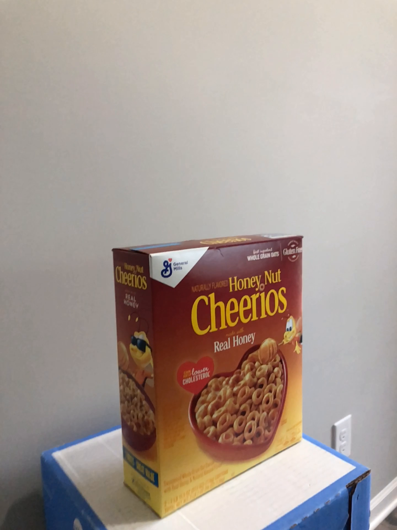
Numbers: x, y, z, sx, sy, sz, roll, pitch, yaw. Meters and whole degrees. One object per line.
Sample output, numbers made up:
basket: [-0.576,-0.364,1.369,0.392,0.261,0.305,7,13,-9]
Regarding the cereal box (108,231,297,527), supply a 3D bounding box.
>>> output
cereal box: [0.017,0.121,0.573,0.240,0.309,0.080,-8,11,-38]
